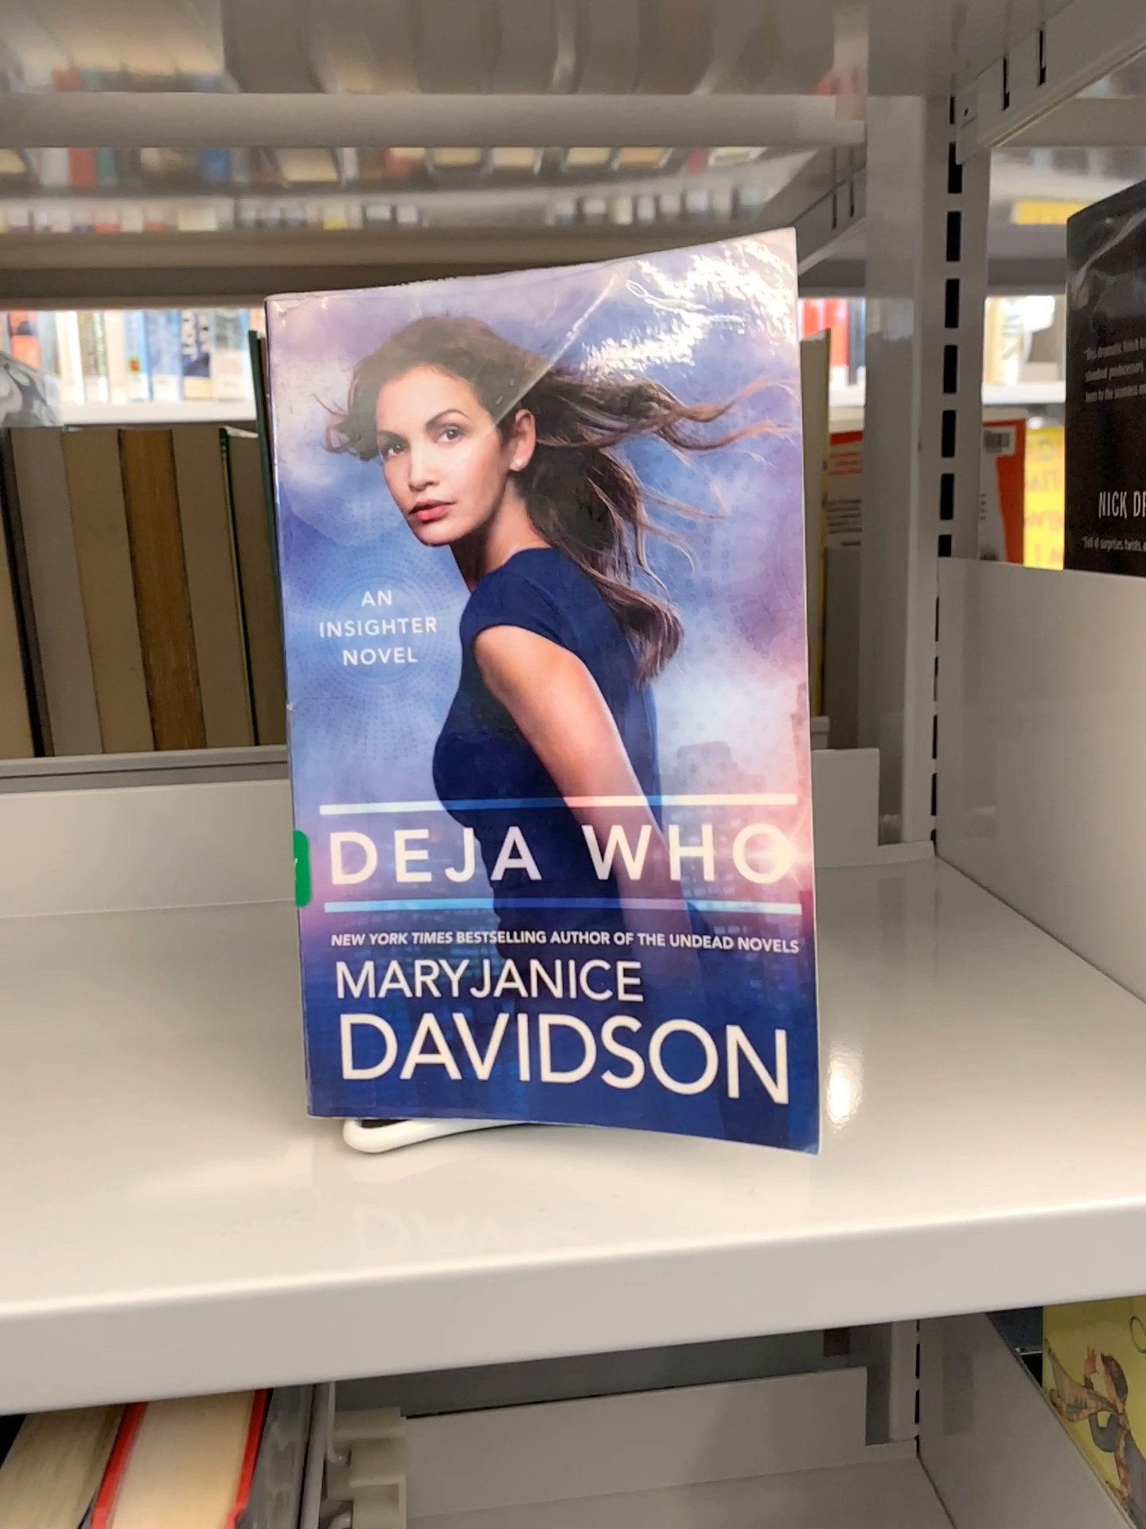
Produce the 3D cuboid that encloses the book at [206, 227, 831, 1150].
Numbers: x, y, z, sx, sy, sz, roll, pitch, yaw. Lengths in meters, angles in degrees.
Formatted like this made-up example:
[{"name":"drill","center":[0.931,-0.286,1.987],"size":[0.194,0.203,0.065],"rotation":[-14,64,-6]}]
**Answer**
[{"name":"book","center":[-0.011,-0.015,0.279],"size":[0.136,0.190,0.047],"rotation":[-1,-1,10]}]
